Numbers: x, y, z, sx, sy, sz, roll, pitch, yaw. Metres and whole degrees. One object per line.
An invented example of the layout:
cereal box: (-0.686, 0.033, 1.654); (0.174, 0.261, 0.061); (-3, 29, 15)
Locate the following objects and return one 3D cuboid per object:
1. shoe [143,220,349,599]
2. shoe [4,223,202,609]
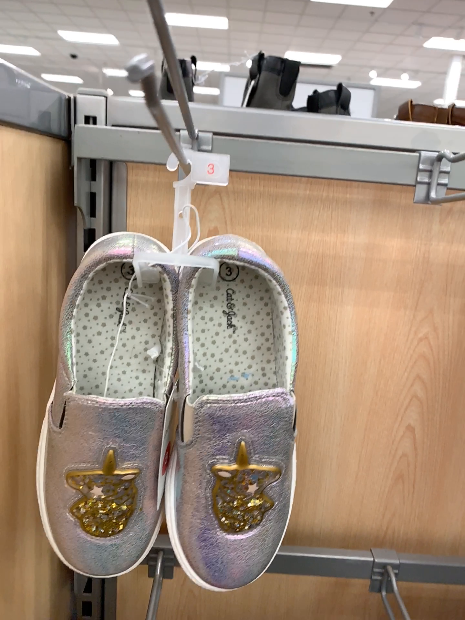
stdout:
shoe: (0.000, 0.055, 0.327); (0.100, 0.221, 0.113); (3, 10, -5)
shoe: (-0.078, 0.058, 0.322); (0.100, 0.221, 0.113); (3, 10, -5)
